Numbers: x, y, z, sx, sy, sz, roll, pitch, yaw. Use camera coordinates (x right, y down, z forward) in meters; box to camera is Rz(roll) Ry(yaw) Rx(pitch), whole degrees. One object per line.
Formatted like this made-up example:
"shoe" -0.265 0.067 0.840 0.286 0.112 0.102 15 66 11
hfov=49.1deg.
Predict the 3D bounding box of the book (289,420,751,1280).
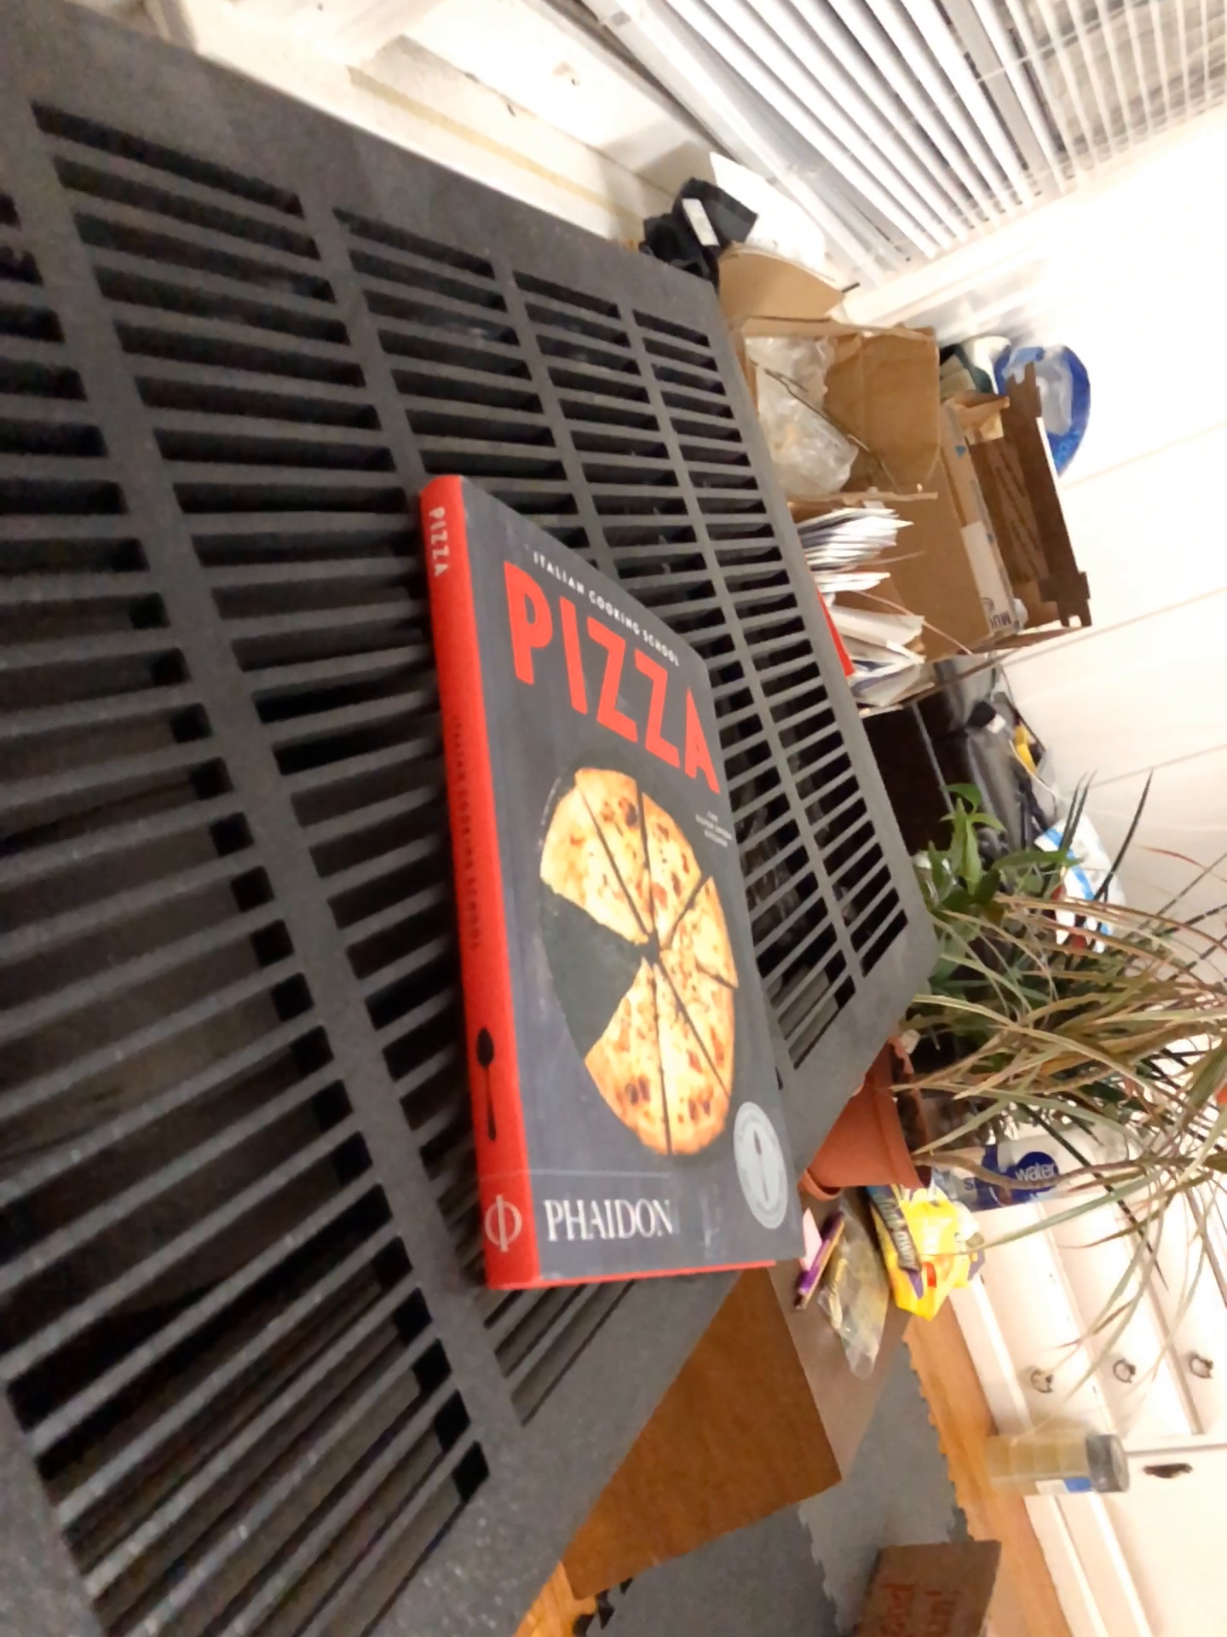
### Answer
"book" -0.024 0.017 0.420 0.181 0.020 0.230 24 52 -56
